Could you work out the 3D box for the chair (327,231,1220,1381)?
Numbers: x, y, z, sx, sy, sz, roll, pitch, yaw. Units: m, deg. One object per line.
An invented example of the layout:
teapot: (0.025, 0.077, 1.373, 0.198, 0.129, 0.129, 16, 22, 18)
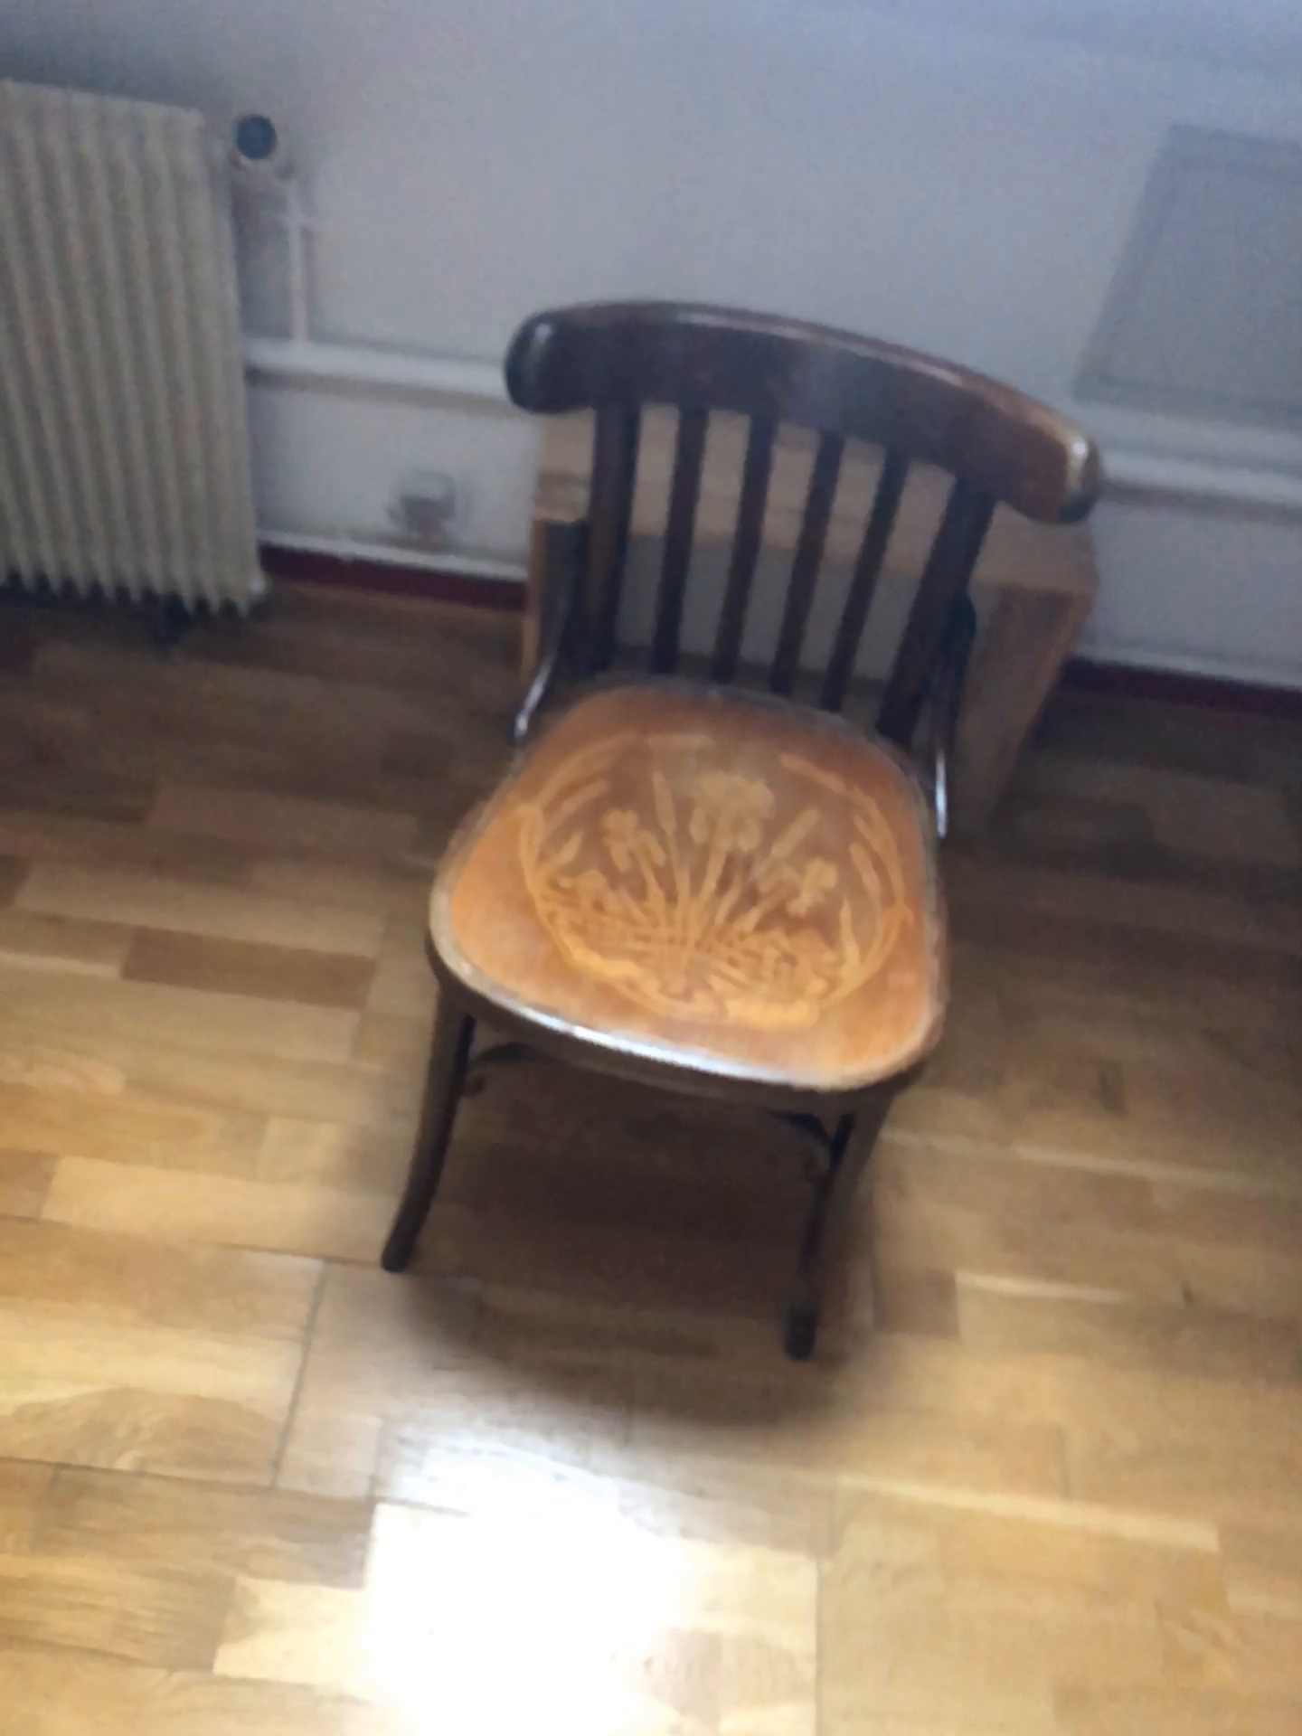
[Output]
chair: (0.043, 0.006, 1.112, 0.442, 0.737, 0.414, 12, 48, 0)
